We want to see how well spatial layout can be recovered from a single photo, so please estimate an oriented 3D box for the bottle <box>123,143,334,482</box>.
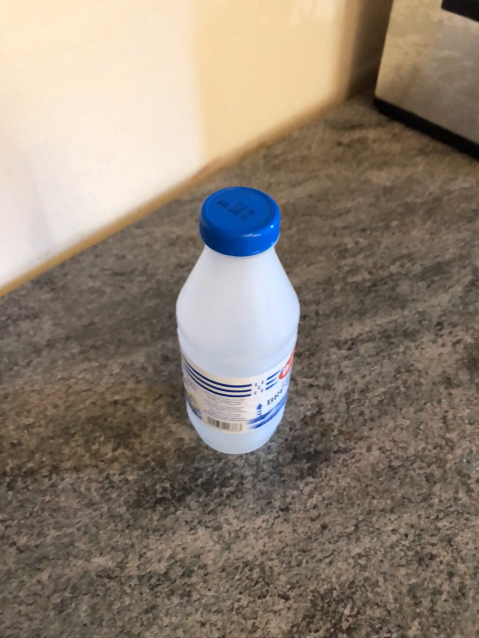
[{"bbox_3d":[-0.003,0.012,0.389,0.090,0.238,0.091,0,49,0],"label":"bottle"}]
